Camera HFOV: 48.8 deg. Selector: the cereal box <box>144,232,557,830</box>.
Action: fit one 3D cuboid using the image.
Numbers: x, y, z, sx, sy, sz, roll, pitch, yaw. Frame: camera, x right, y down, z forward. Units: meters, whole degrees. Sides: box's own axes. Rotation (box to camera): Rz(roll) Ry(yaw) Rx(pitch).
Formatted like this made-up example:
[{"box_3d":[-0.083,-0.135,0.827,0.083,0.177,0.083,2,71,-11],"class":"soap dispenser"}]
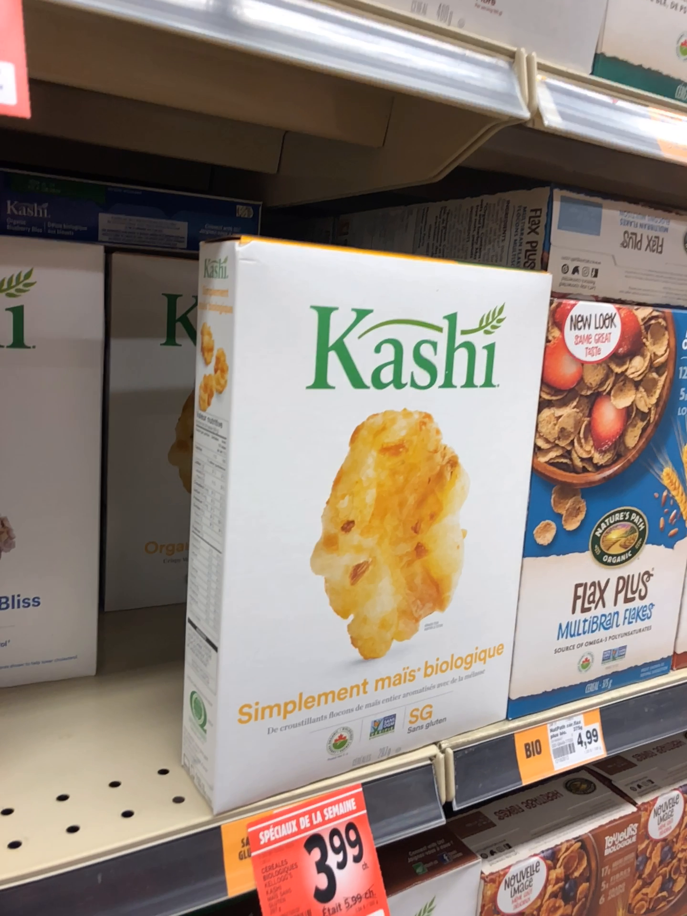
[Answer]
[{"box_3d":[0.005,0.030,0.406,0.200,0.269,0.060,-3,13,-33],"class":"cereal box"}]
